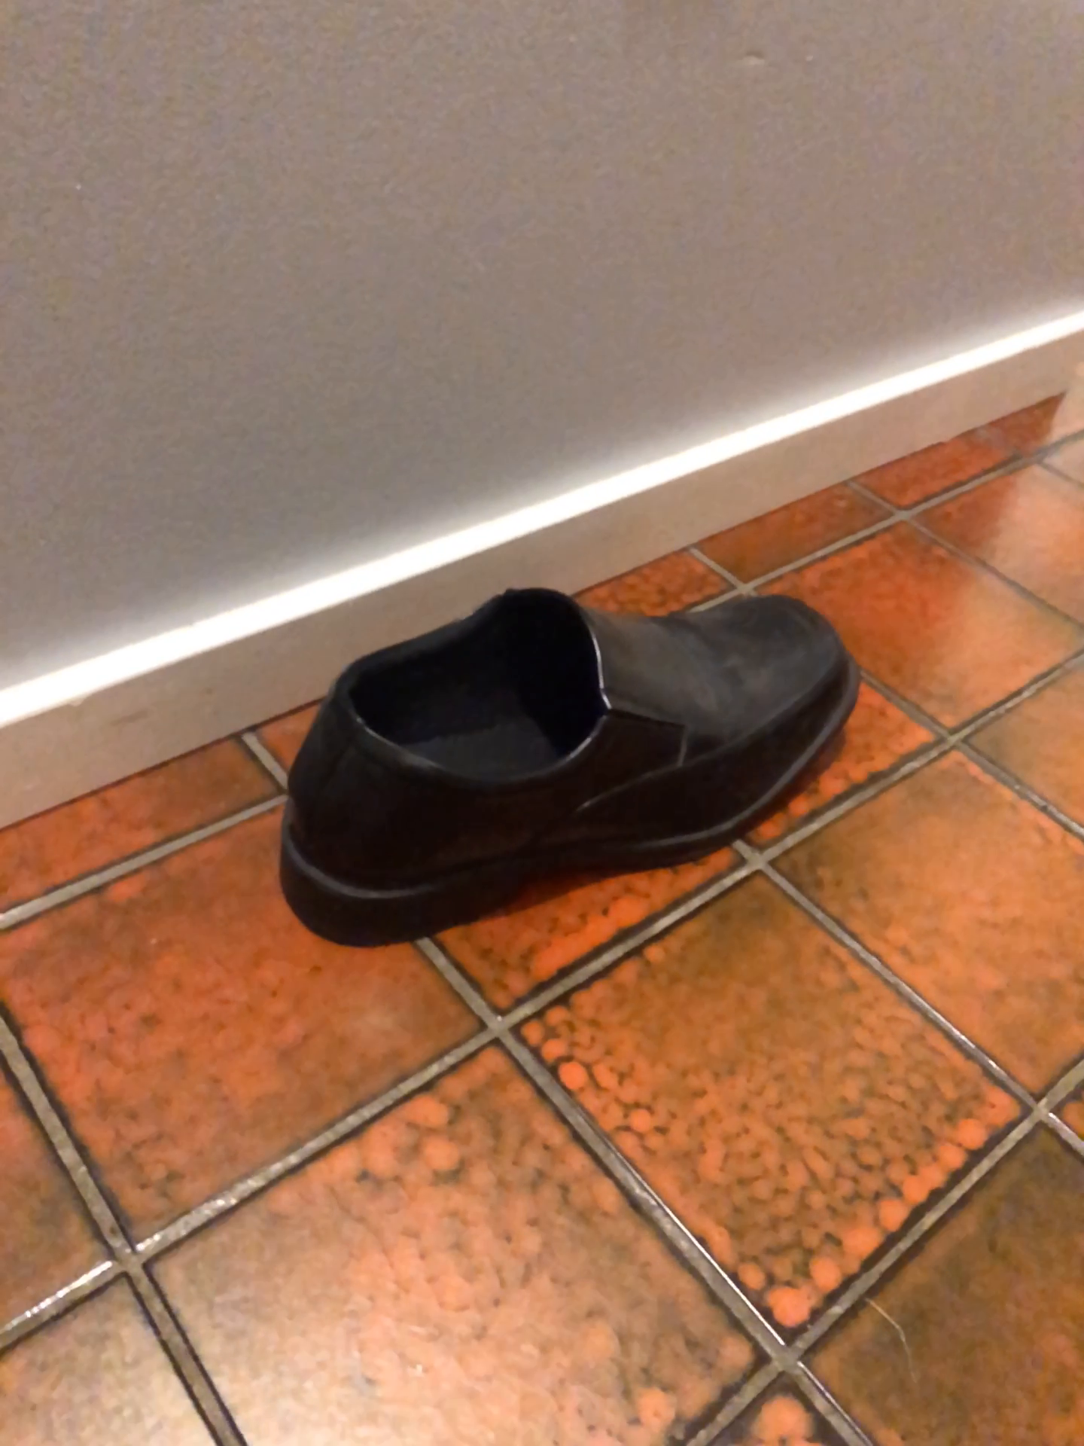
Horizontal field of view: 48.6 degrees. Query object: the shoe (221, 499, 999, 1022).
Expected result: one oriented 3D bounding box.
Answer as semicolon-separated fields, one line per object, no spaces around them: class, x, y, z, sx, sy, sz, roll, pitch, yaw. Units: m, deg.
shoe;0.030;0.002;0.521;0.300;0.100;0.120;-16;48;-25
